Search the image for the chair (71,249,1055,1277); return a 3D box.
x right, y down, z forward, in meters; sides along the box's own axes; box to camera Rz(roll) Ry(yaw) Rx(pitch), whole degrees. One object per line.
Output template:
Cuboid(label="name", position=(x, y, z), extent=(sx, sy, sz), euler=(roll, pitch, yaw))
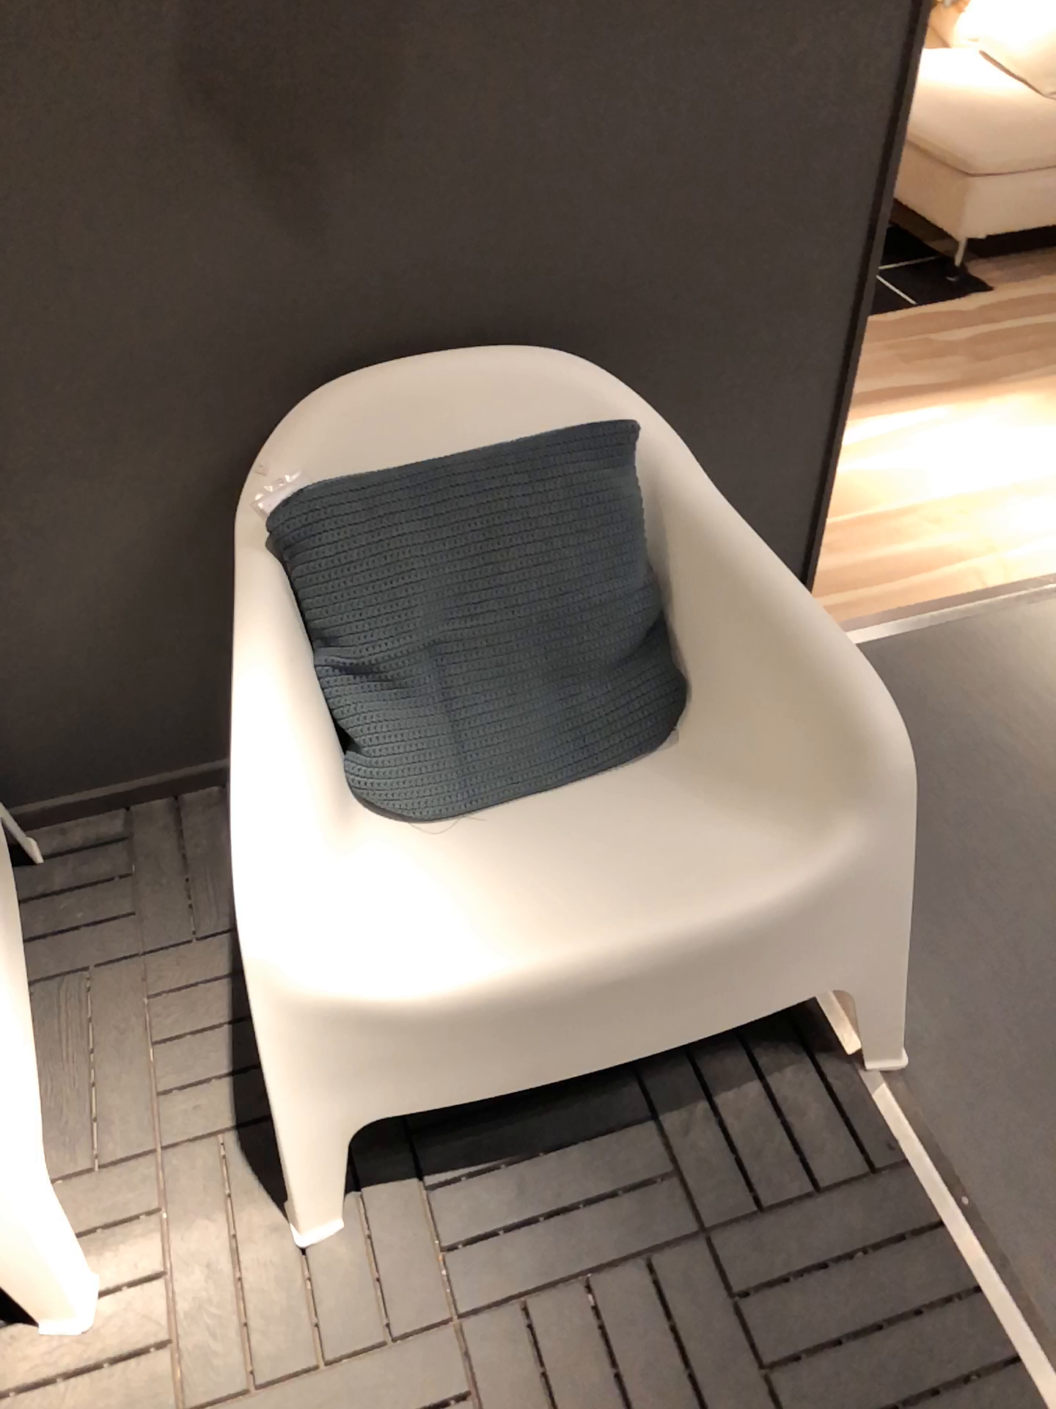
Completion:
Cuboid(label="chair", position=(-0.008, 0.023, 1.418), extent=(0.830, 0.765, 0.785), euler=(-13, 45, -14))
